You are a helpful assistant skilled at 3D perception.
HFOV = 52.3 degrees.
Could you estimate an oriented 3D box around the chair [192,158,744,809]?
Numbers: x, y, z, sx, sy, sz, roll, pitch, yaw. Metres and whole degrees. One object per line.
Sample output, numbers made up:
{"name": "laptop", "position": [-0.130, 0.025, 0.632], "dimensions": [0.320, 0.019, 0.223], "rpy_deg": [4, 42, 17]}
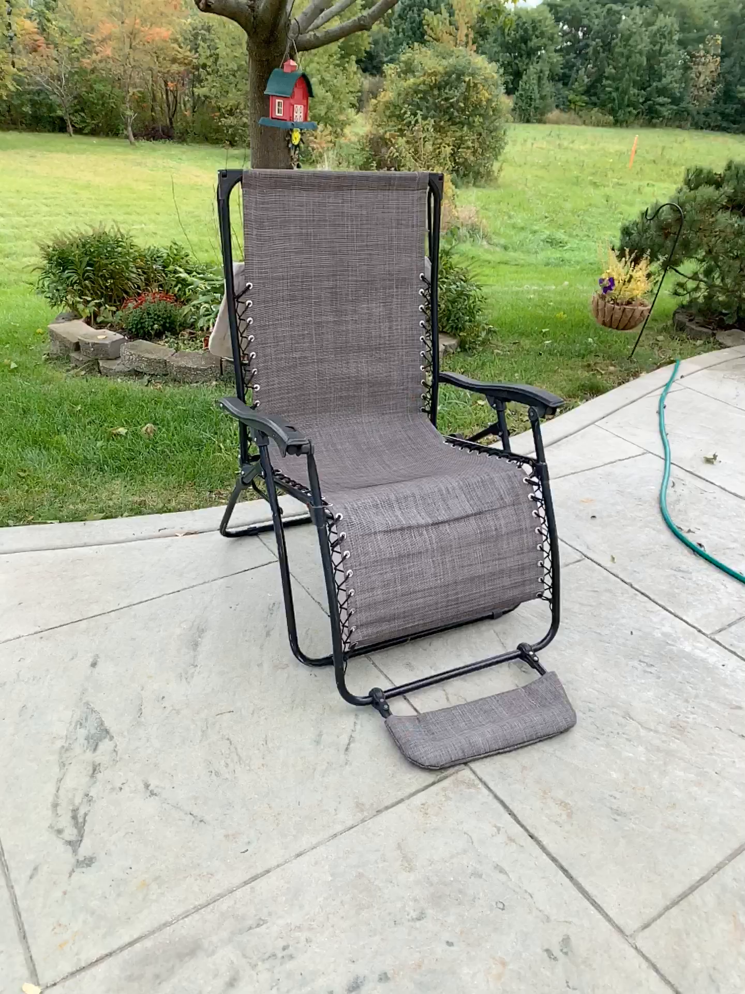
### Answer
{"name": "chair", "position": [0.100, -0.172, 1.858], "dimensions": [0.743, 1.056, 1.151], "rpy_deg": [-10, 32, -26]}
